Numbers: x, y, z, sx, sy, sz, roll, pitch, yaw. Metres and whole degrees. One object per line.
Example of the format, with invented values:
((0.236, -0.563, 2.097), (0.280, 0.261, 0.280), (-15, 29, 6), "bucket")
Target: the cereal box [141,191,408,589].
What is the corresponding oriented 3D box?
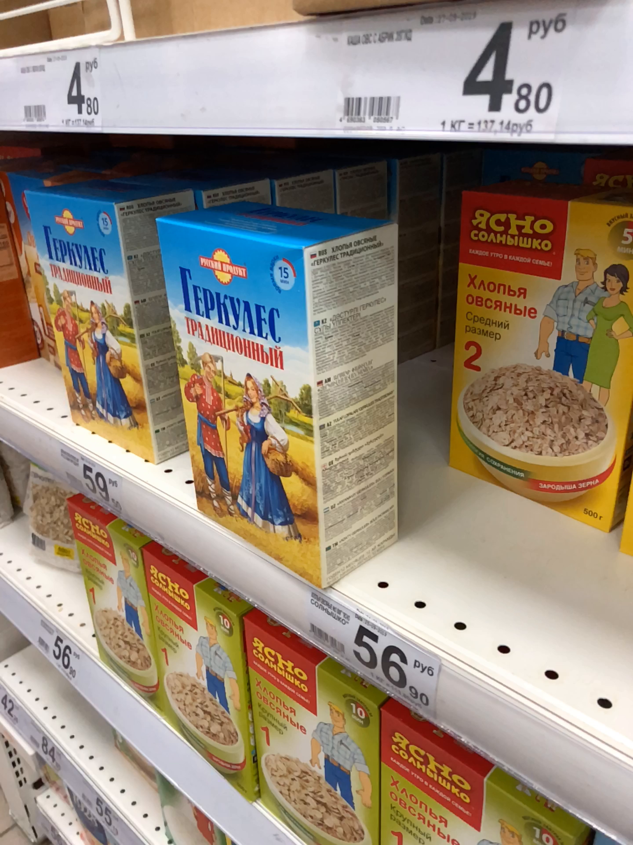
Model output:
((-0.022, -0.025, 0.403), (0.070, 0.189, 0.130), (-25, 33, -38), "cereal box")
